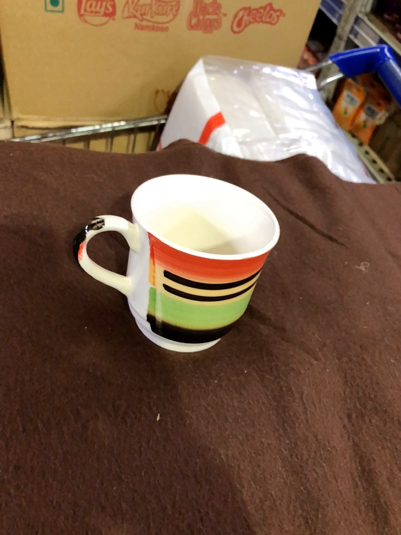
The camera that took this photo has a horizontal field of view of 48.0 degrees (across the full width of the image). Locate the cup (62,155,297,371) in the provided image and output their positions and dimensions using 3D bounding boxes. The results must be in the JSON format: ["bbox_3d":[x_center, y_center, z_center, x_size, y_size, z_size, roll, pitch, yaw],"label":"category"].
[{"bbox_3d":[-0.017,-0.005,0.217,0.090,0.070,0.070,-2,40,-14],"label":"cup"}]
